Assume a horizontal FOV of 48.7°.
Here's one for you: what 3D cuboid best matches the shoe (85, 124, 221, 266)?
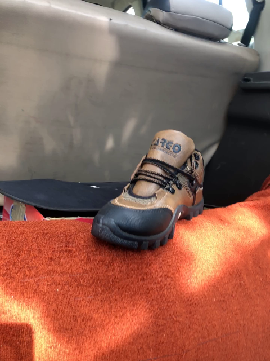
[{"bbox_3d":[0.048,-0.005,0.484,0.110,0.149,0.271,14,16,22],"label":"shoe"}]
